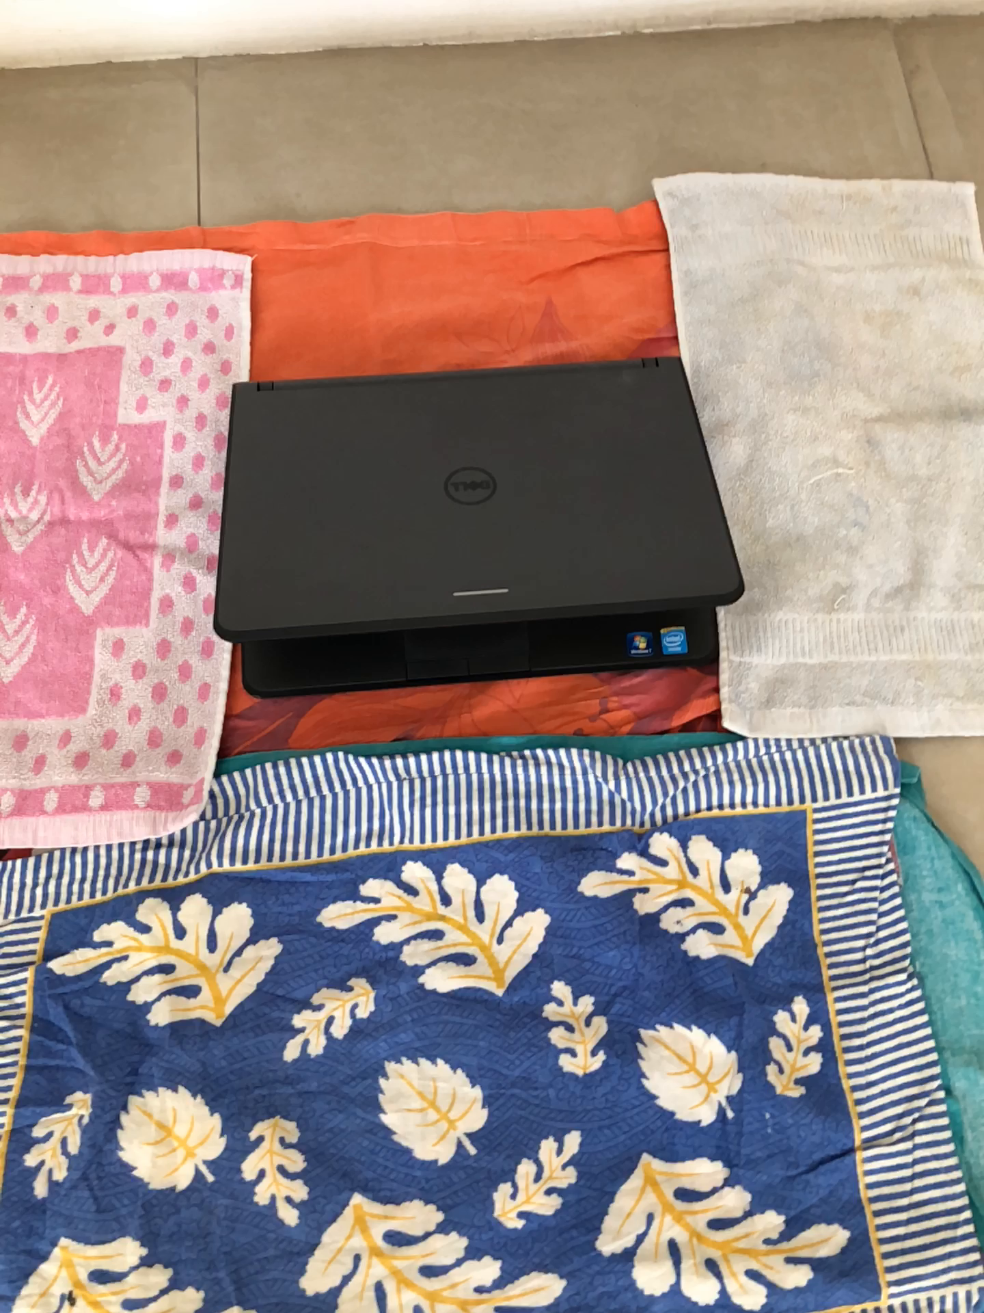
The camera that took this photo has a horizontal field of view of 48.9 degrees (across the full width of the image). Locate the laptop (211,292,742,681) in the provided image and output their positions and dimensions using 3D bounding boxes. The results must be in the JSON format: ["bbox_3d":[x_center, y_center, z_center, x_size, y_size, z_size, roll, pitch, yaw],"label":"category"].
[{"bbox_3d":[-0.017,-0.114,0.715,0.314,0.078,0.227,-4,70,-3],"label":"laptop"}]
